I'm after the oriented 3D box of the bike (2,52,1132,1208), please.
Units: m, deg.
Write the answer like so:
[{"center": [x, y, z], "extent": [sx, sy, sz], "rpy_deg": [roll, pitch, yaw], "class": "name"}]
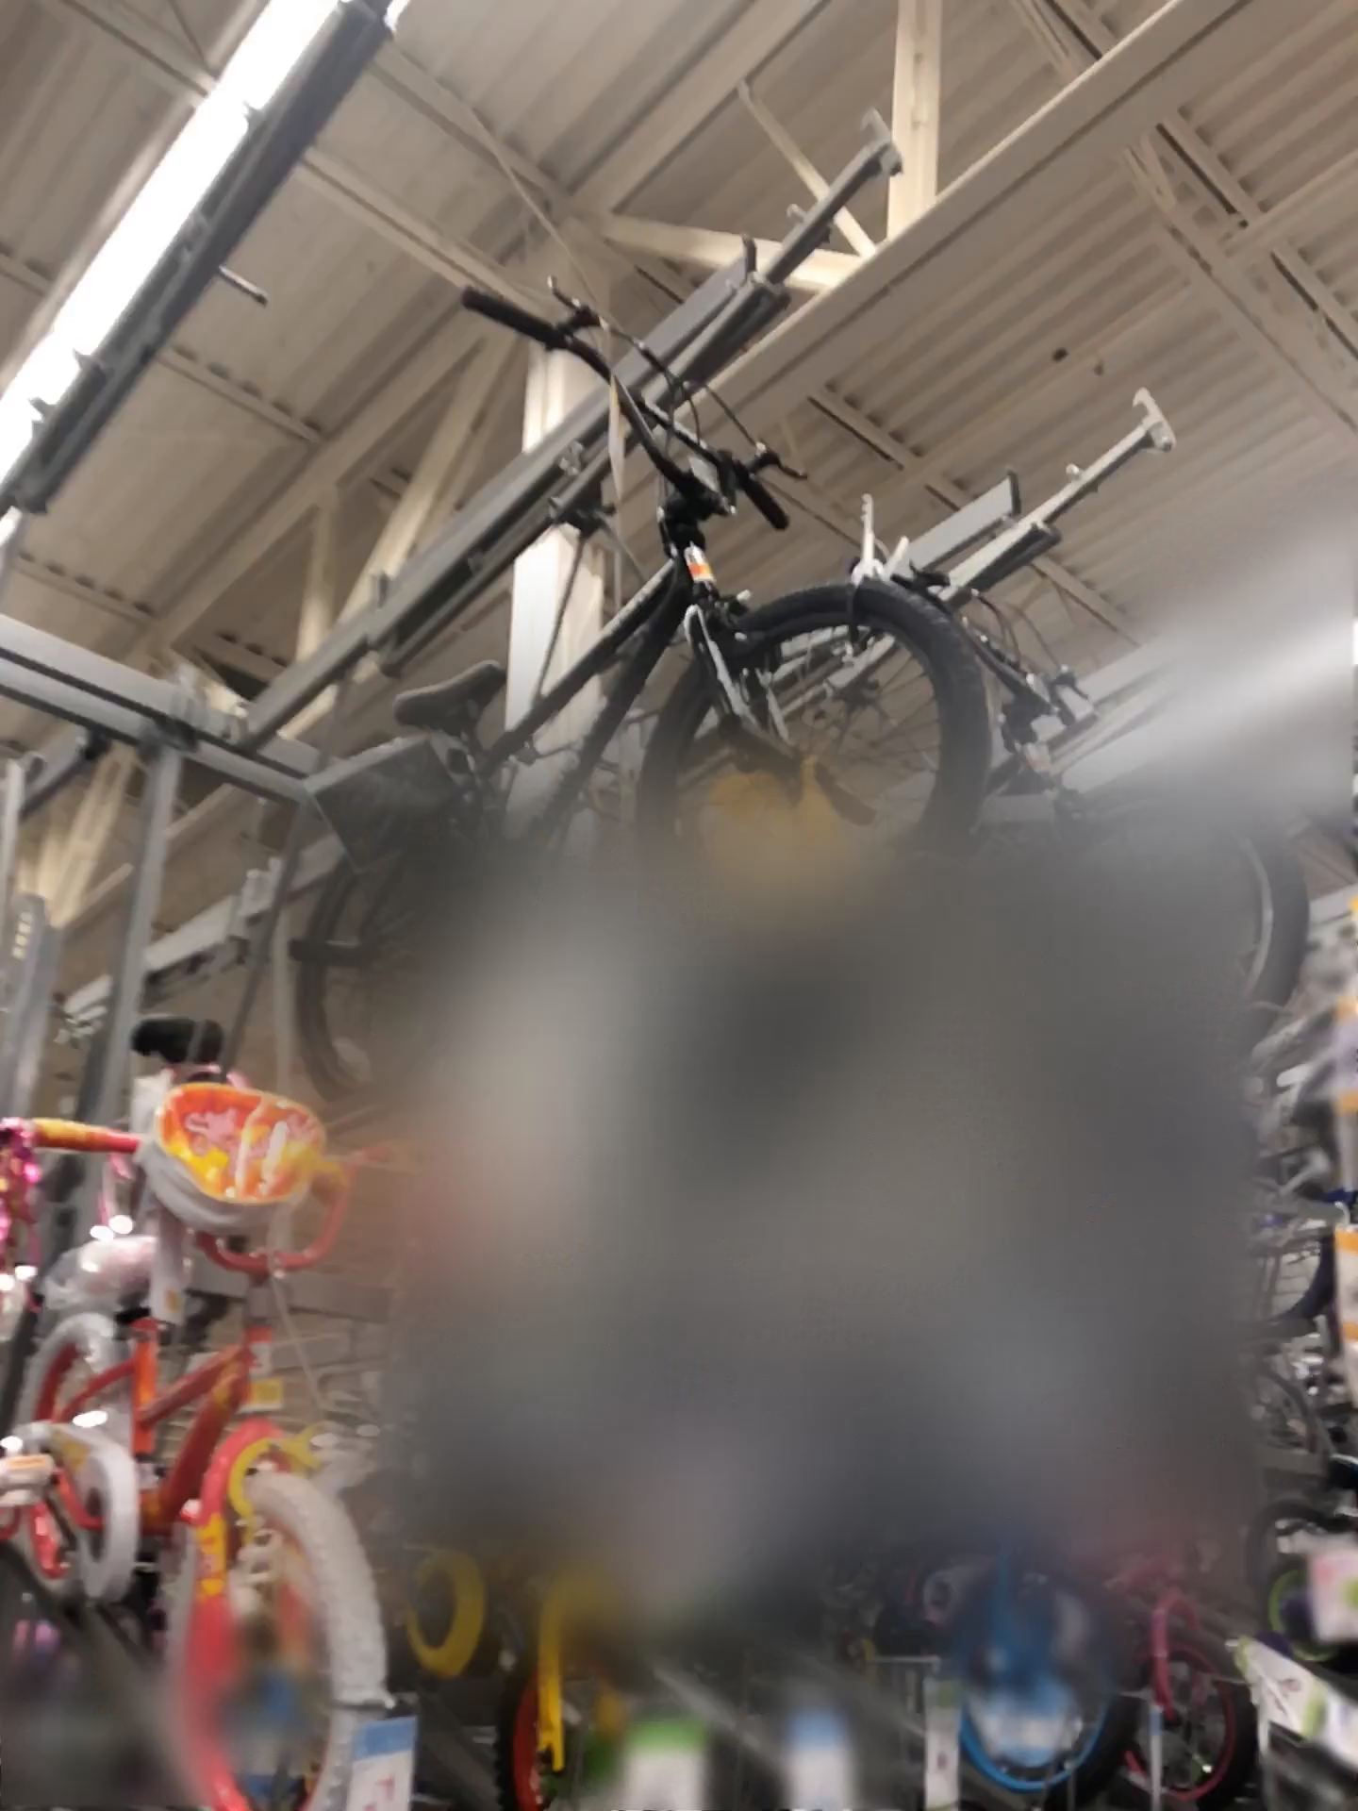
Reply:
[{"center": [-0.220, -0.217, 2.097], "extent": [0.752, 0.909, 1.349], "rpy_deg": [24, -36, -38], "class": "bike"}]
